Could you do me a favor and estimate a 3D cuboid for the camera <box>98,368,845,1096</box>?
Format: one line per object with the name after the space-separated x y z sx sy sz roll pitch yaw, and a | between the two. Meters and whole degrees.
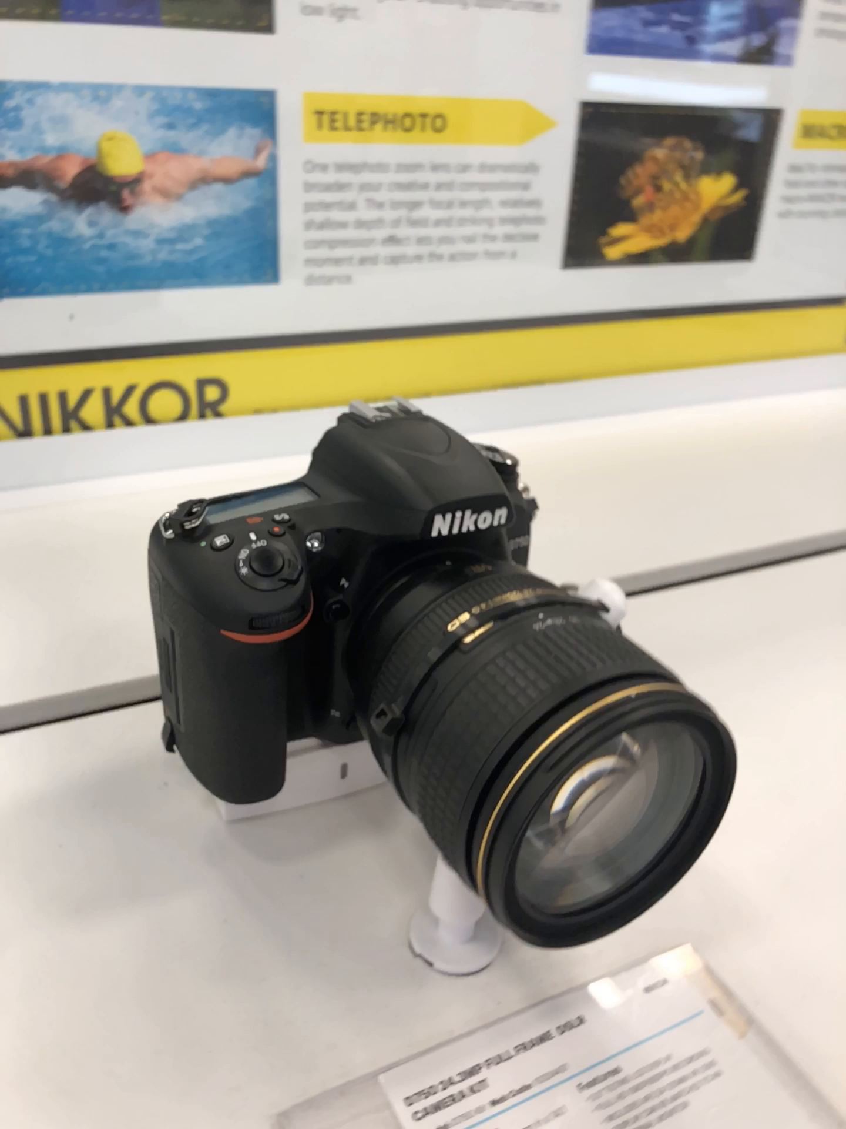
0.002 0.023 0.292 0.150 0.110 0.170 -12 31 -27 | camera
